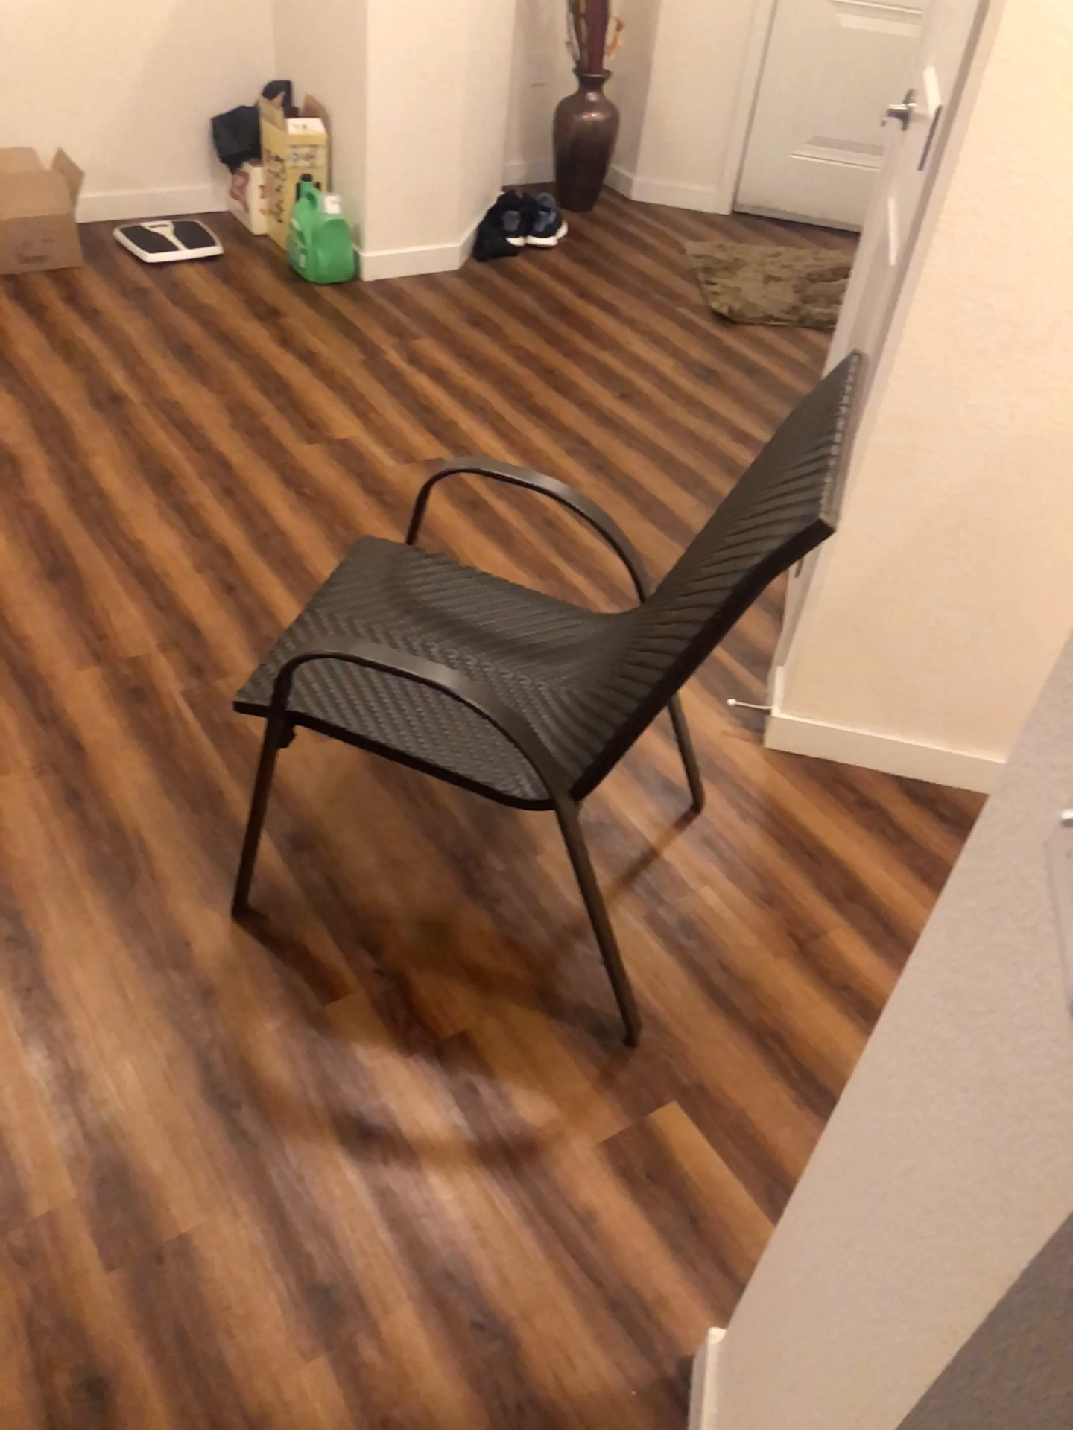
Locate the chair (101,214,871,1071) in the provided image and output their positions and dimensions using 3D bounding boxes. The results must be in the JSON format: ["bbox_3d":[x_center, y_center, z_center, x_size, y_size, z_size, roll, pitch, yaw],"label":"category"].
[{"bbox_3d":[-0.051,-0.107,1.646,0.747,0.852,0.600,16,41,10],"label":"chair"}]
